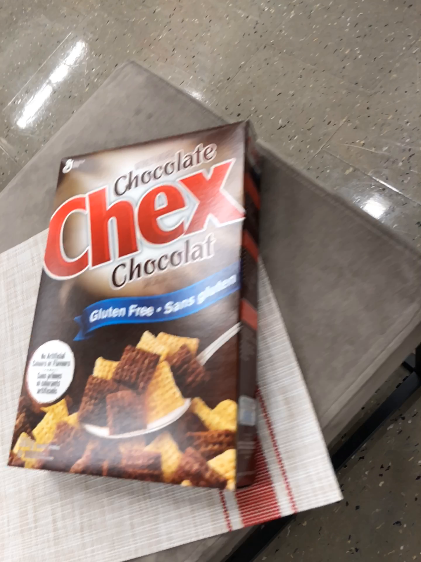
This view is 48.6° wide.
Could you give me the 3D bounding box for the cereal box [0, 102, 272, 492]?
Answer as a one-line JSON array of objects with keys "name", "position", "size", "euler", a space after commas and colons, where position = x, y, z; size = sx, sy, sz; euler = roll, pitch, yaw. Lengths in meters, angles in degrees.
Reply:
[{"name": "cereal box", "position": [-0.059, 0.007, 0.393], "size": [0.211, 0.050, 0.290], "euler": [-4, 70, 22]}]
